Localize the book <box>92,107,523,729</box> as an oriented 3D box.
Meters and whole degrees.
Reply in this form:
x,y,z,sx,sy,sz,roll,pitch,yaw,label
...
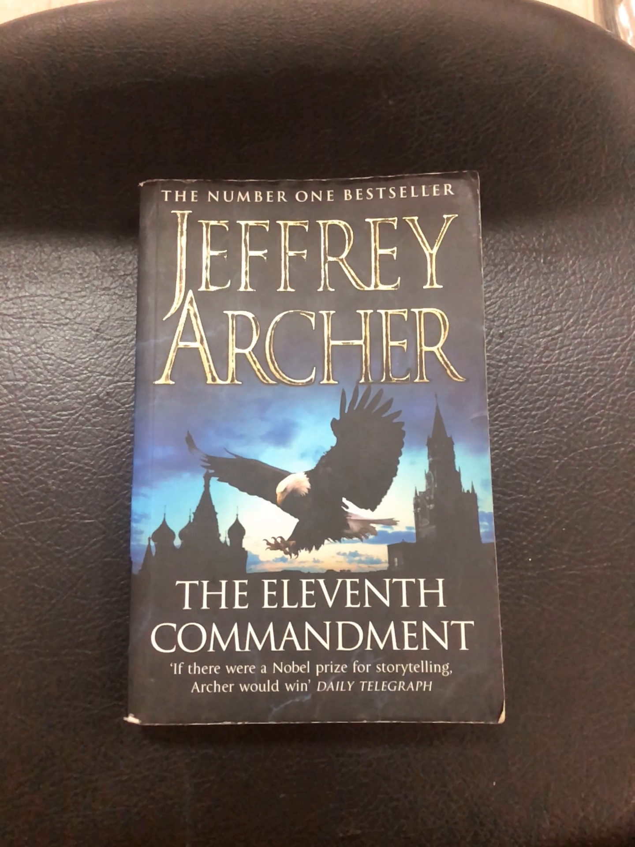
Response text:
x,y,z,sx,sy,sz,roll,pitch,yaw,label
-0.003,-0.004,0.248,0.130,0.040,0.200,1,82,-2,book
